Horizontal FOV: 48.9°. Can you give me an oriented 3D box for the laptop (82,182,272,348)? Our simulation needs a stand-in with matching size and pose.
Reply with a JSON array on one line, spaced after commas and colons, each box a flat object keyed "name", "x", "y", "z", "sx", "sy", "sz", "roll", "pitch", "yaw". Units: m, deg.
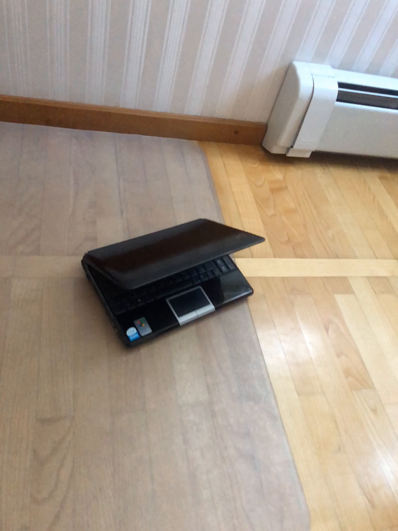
[{"name": "laptop", "x": -0.038, "y": -0.014, "z": 0.754, "sx": 0.265, "sy": 0.102, "sz": 0.182, "roll": -20, "pitch": 63, "yaw": -31}]
